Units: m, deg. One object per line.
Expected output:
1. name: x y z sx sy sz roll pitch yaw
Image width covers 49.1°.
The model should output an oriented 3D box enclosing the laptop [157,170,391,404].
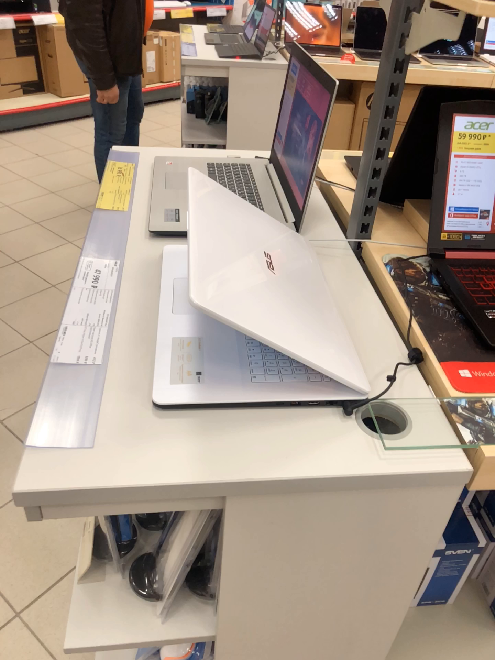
1. laptop: 0.002 -0.086 0.787 0.257 0.142 0.393 -1 37 -8

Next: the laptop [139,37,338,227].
1. laptop: -0.038 -0.426 1.131 0.336 0.262 0.394 -2 36 -9

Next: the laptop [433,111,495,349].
1. laptop: 0.535 -0.180 0.848 0.377 0.220 0.367 1 35 -1
